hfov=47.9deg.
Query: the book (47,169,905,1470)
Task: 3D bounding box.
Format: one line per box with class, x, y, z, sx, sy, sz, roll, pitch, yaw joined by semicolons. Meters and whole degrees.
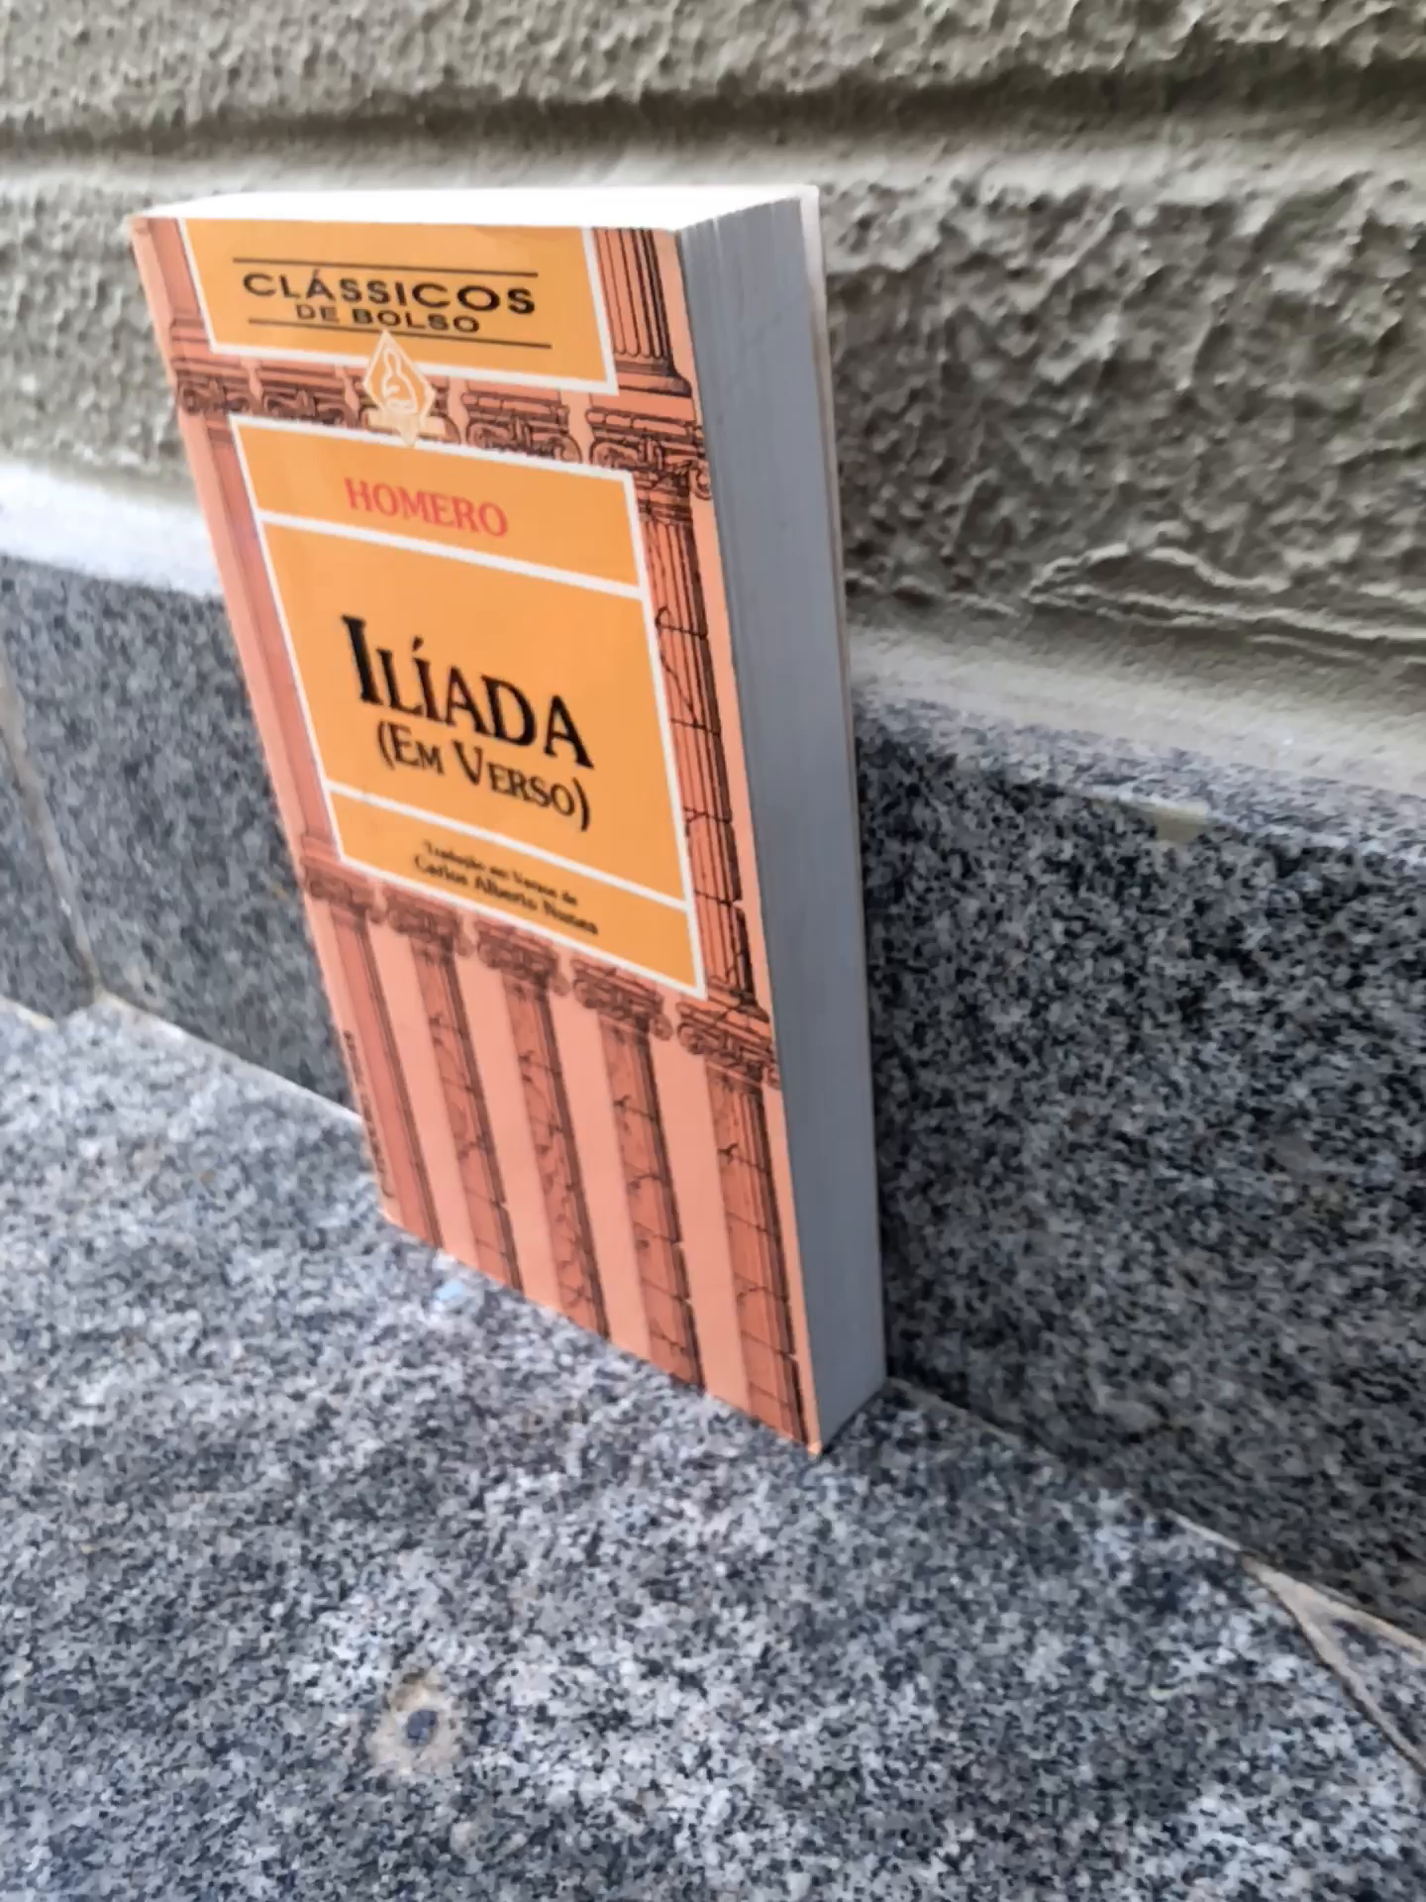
book;-0.036;-0.020;0.295;0.139;0.218;0.030;19;40;35
